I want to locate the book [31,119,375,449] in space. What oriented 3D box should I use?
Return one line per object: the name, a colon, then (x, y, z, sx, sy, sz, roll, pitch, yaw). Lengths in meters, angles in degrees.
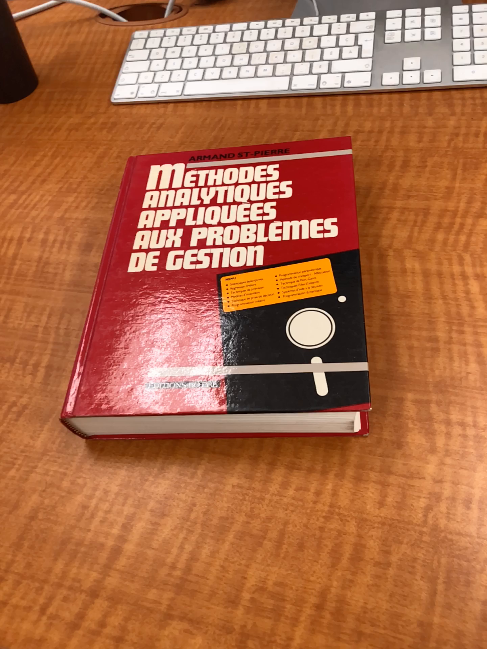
book: (-0.016, -0.040, 0.392, 0.200, 0.050, 0.251, -2, 57, 10)
